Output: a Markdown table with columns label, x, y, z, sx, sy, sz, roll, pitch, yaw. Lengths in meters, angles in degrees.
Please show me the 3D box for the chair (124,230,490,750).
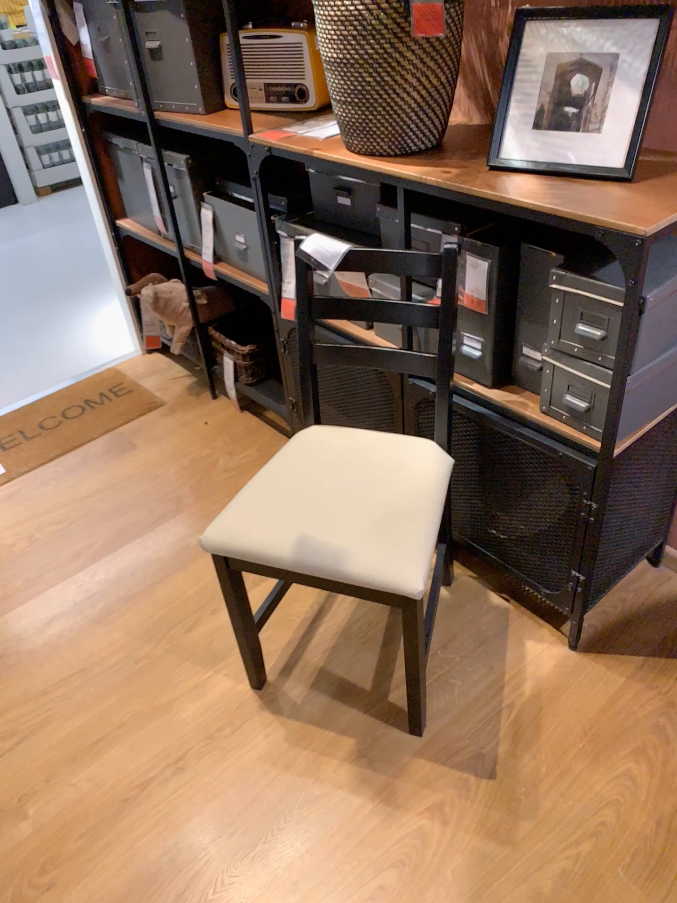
| label | x | y | z | sx | sy | sz | roll | pitch | yaw |
| --- | --- | --- | --- | --- | --- | --- | --- | --- | --- |
| chair | 0.017 | 0.068 | 1.325 | 0.411 | 0.796 | 0.502 | 10 | 40 | 21 |
